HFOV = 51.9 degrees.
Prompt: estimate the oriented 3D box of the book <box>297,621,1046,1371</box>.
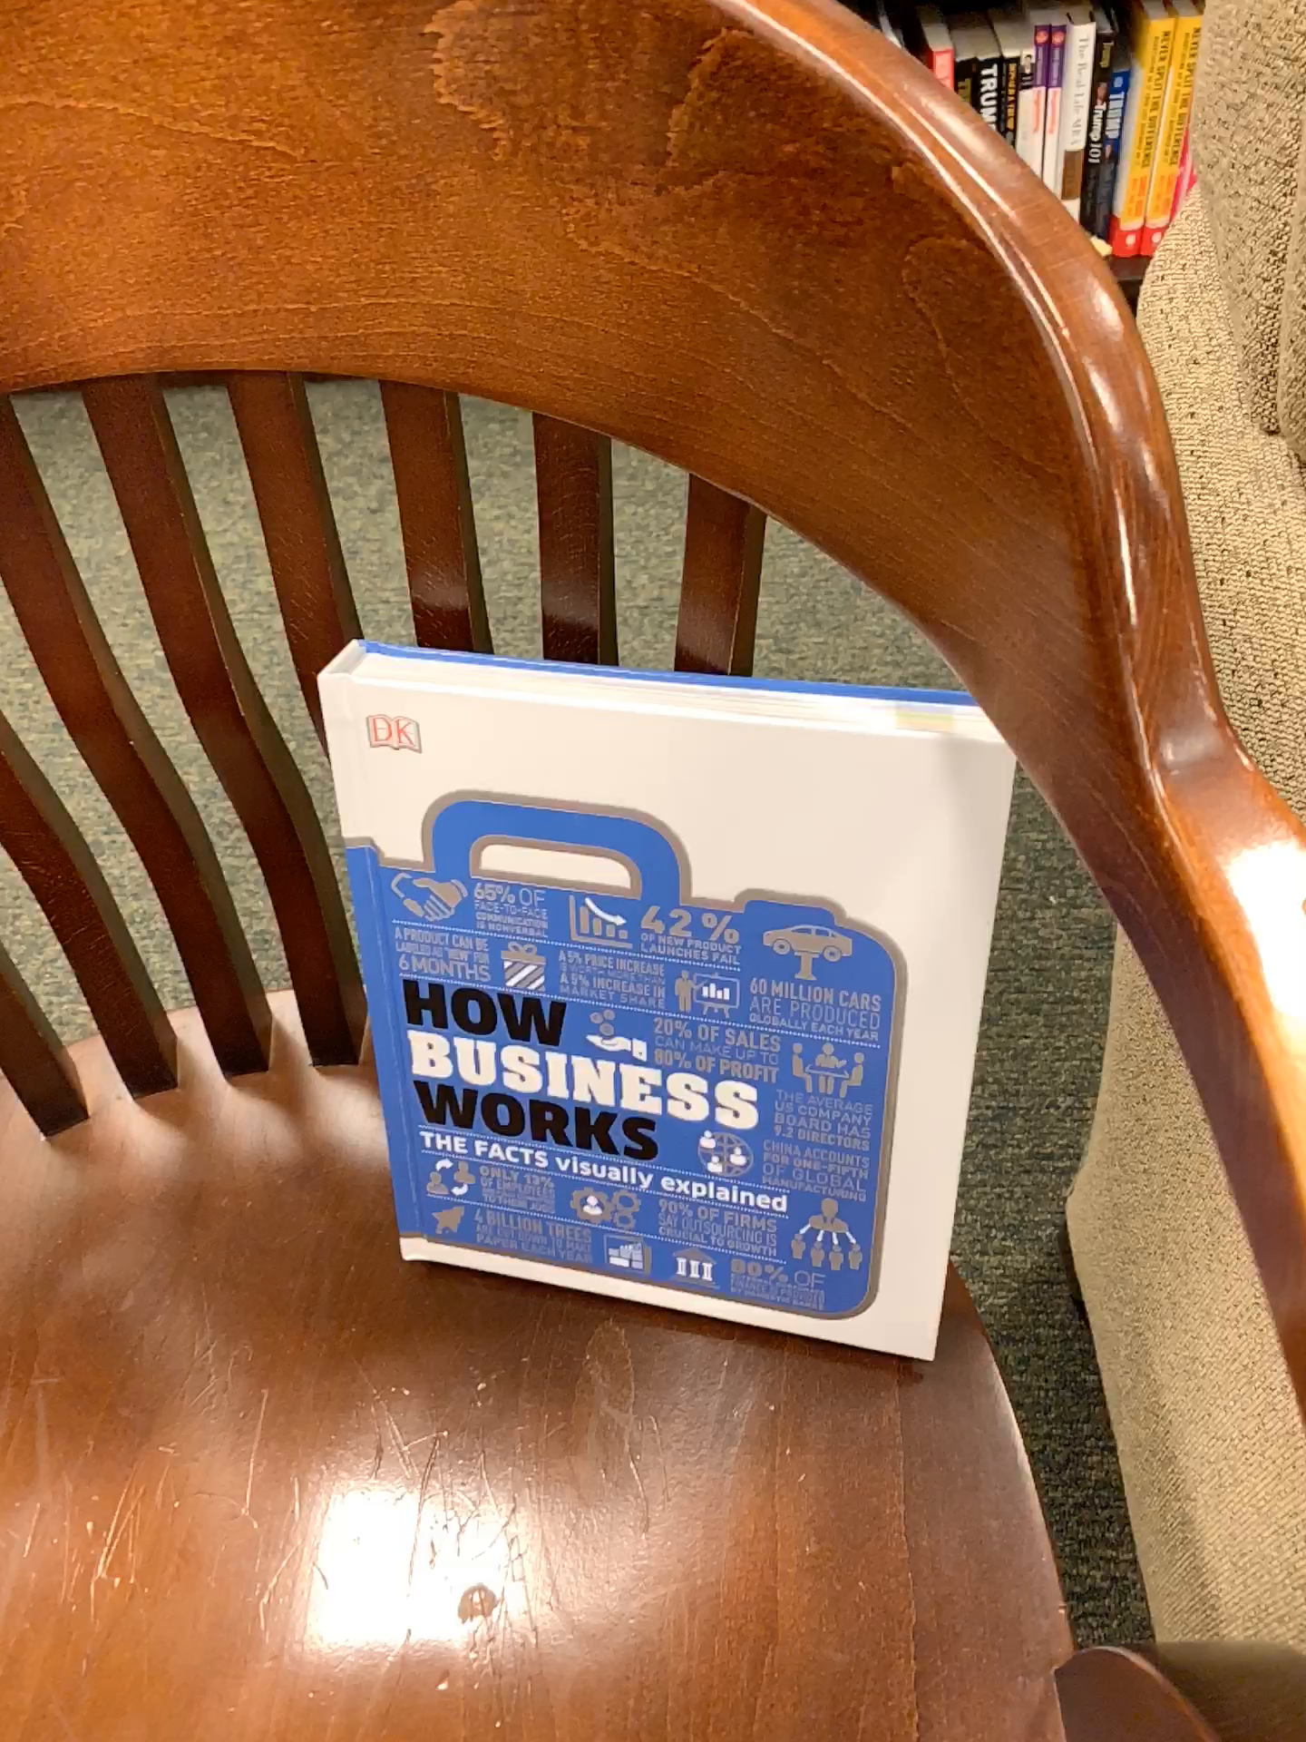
[{"bbox_3d":[0.003,0.050,0.449,0.211,0.246,0.039,7,32,12],"label":"book"}]
